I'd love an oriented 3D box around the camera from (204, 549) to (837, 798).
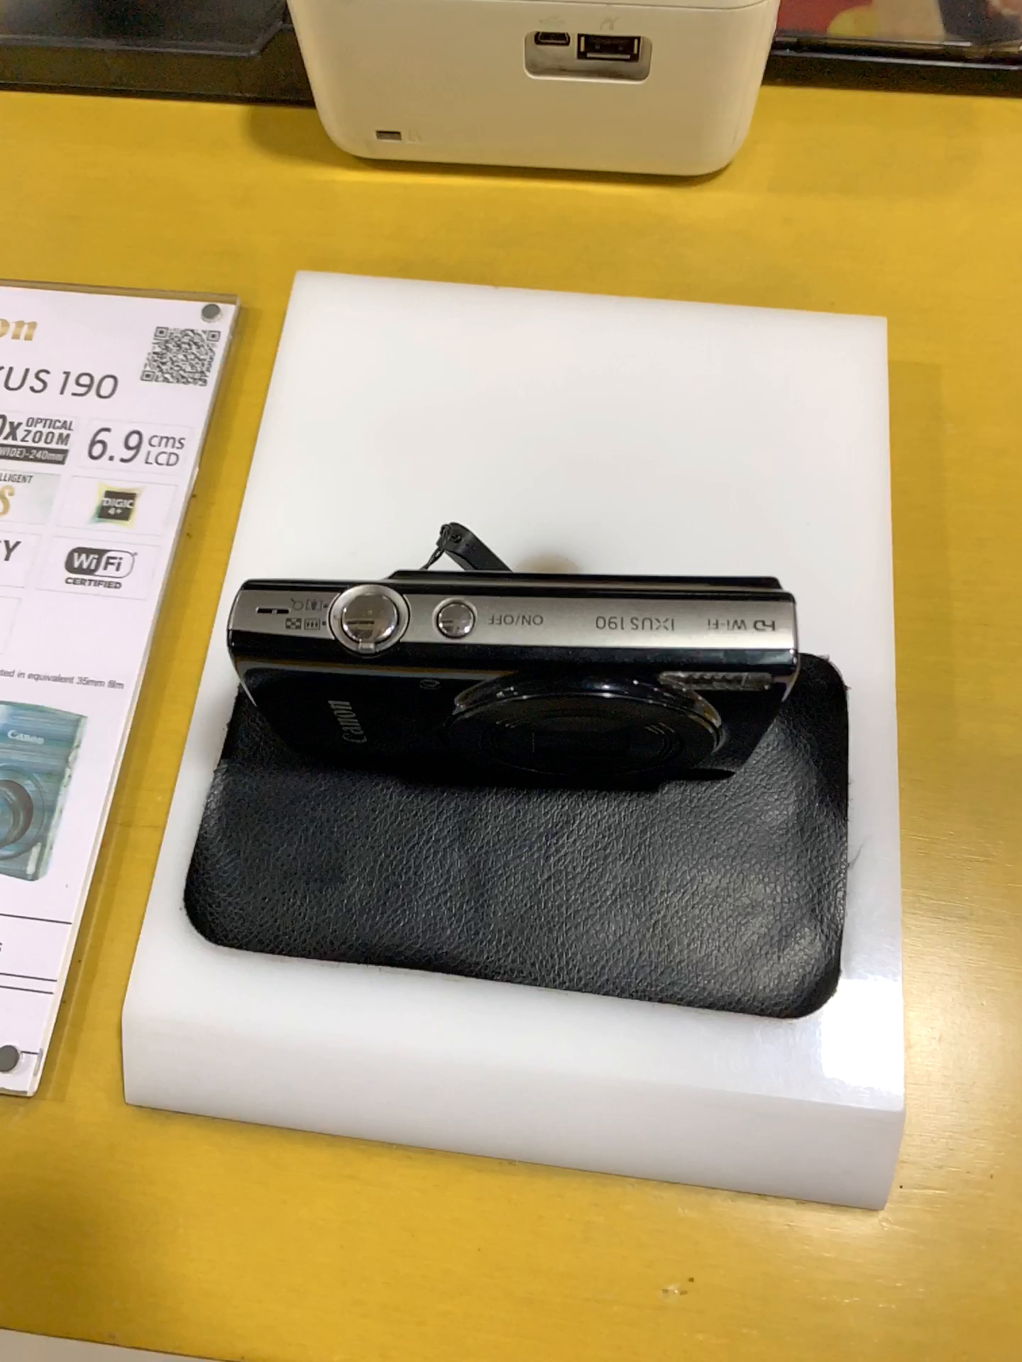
[{"bbox_3d":[0.002,0.001,0.182,0.090,0.060,0.020,1,69,2],"label":"camera"}]
